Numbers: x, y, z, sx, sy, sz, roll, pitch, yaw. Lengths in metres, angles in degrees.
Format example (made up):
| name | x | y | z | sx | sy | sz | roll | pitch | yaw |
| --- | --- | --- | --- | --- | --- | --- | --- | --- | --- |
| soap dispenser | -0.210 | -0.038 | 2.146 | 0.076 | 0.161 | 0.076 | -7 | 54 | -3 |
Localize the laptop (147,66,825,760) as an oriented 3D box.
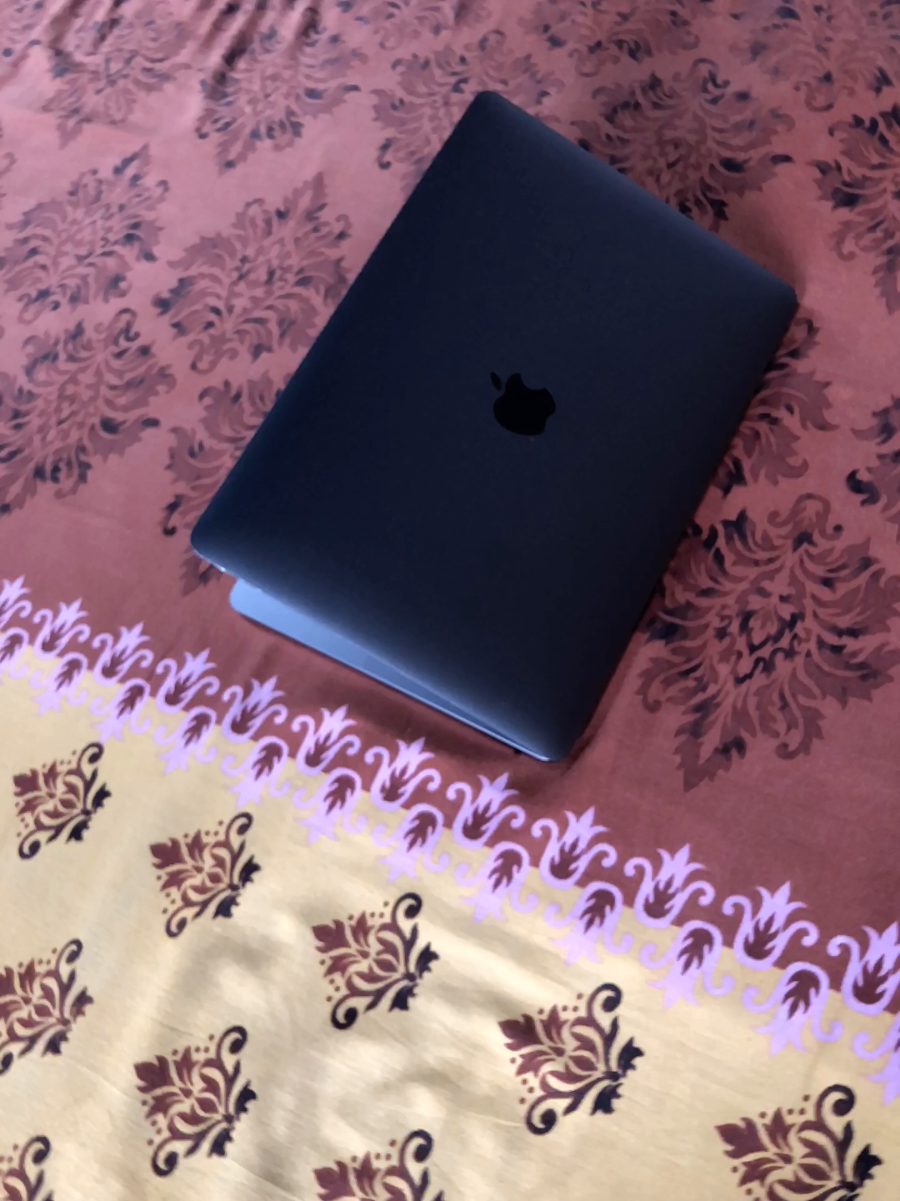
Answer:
| name | x | y | z | sx | sy | sz | roll | pitch | yaw |
| --- | --- | --- | --- | --- | --- | --- | --- | --- | --- |
| laptop | 0.027 | -0.104 | 0.501 | 0.204 | 0.093 | 0.286 | 25 | 74 | 19 |
